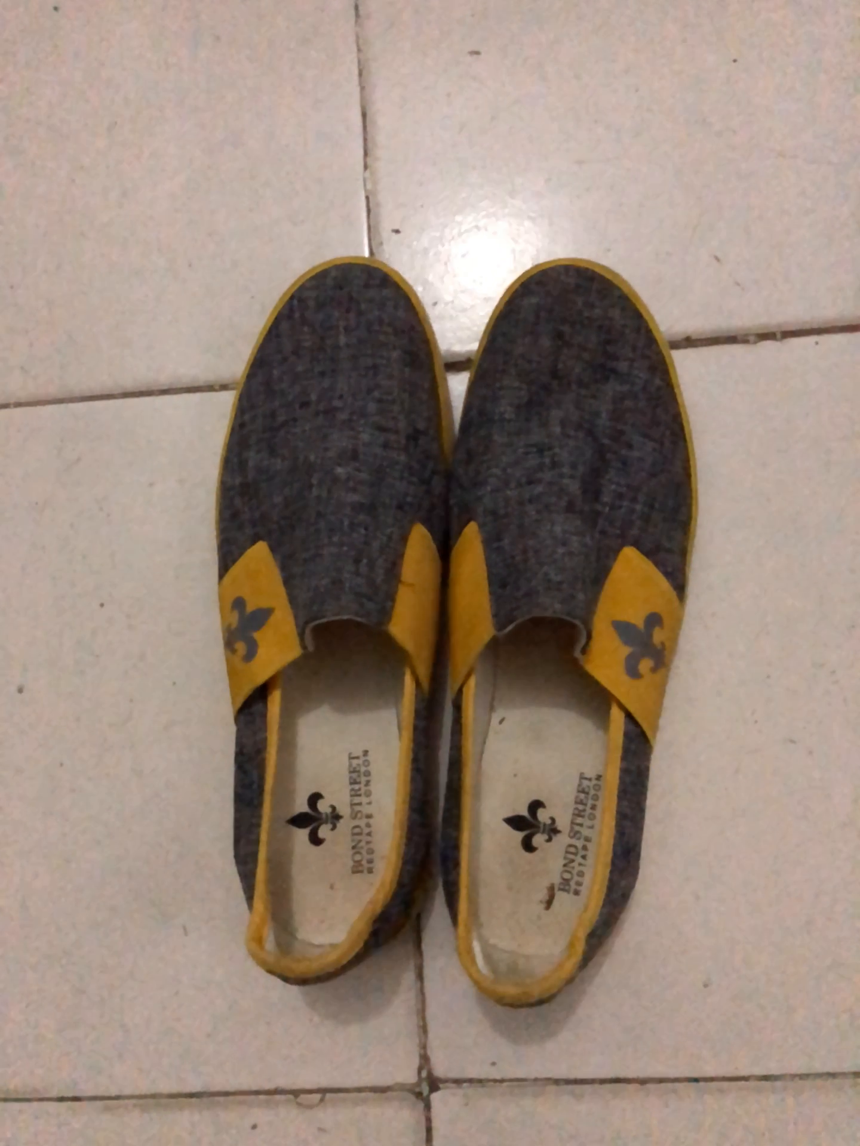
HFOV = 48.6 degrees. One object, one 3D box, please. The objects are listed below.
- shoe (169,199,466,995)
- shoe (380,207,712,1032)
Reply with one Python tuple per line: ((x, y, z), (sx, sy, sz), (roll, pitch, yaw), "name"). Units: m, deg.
((-0.040, 0.009, 0.400), (0.100, 0.100, 0.290), (-1, 83, 5), "shoe")
((0.044, 0.013, 0.356), (0.090, 0.100, 0.260), (4, 84, 6), "shoe")
